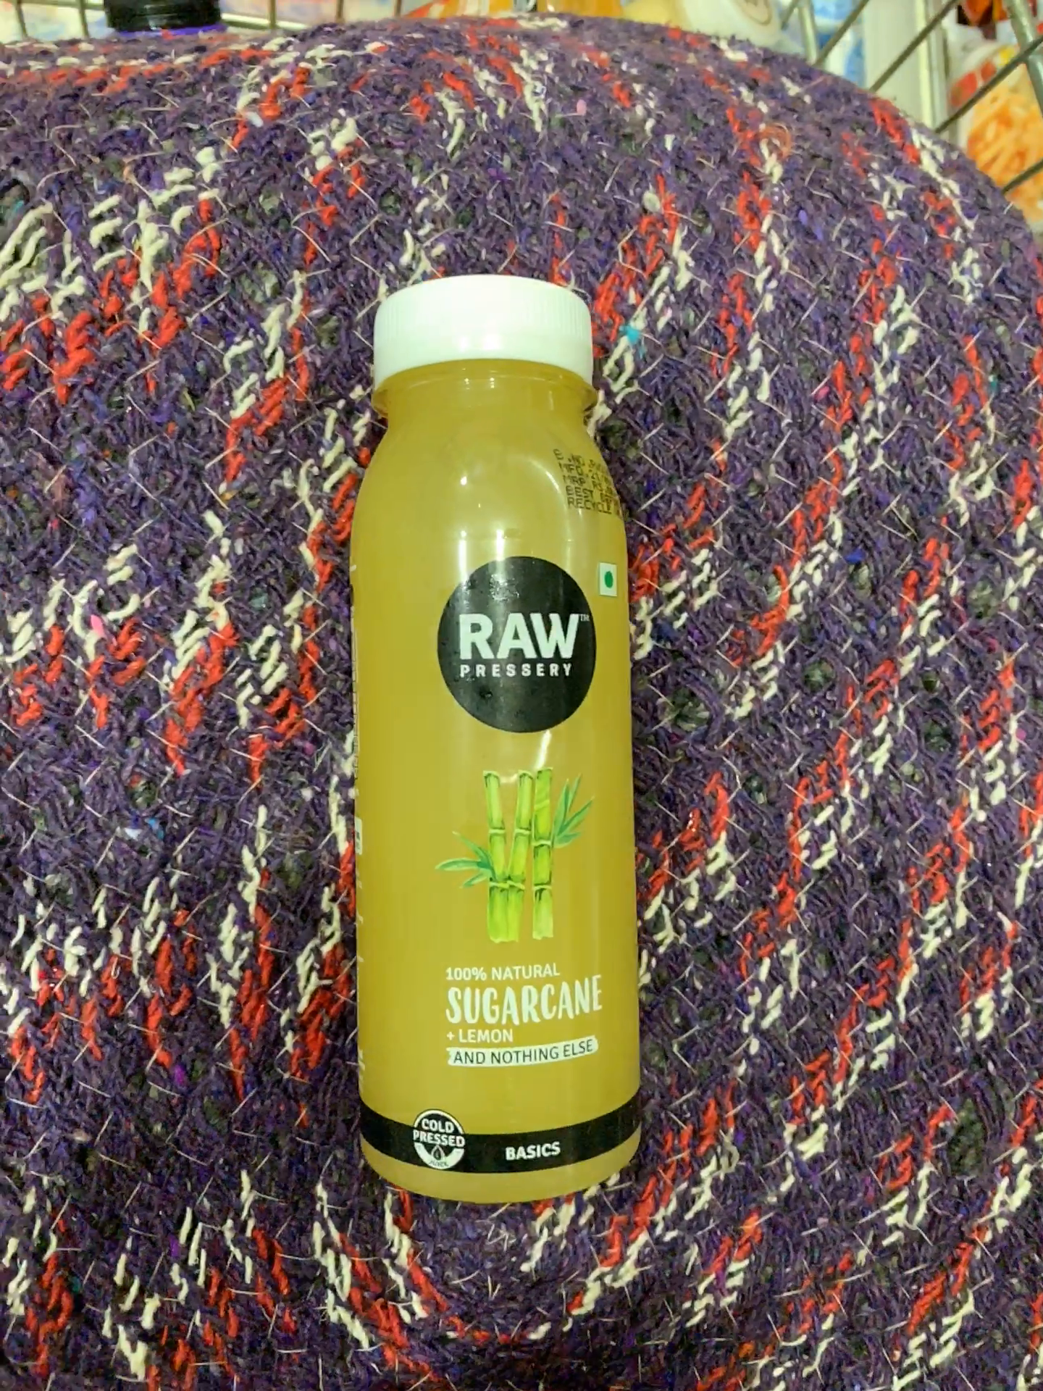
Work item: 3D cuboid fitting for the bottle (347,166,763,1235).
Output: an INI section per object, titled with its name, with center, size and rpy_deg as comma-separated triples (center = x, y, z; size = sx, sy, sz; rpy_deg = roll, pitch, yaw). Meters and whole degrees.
[bottle]
center = 0.003, 0.000, 0.193
size = 0.060, 0.050, 0.160
rpy_deg = -1, 90, -12
